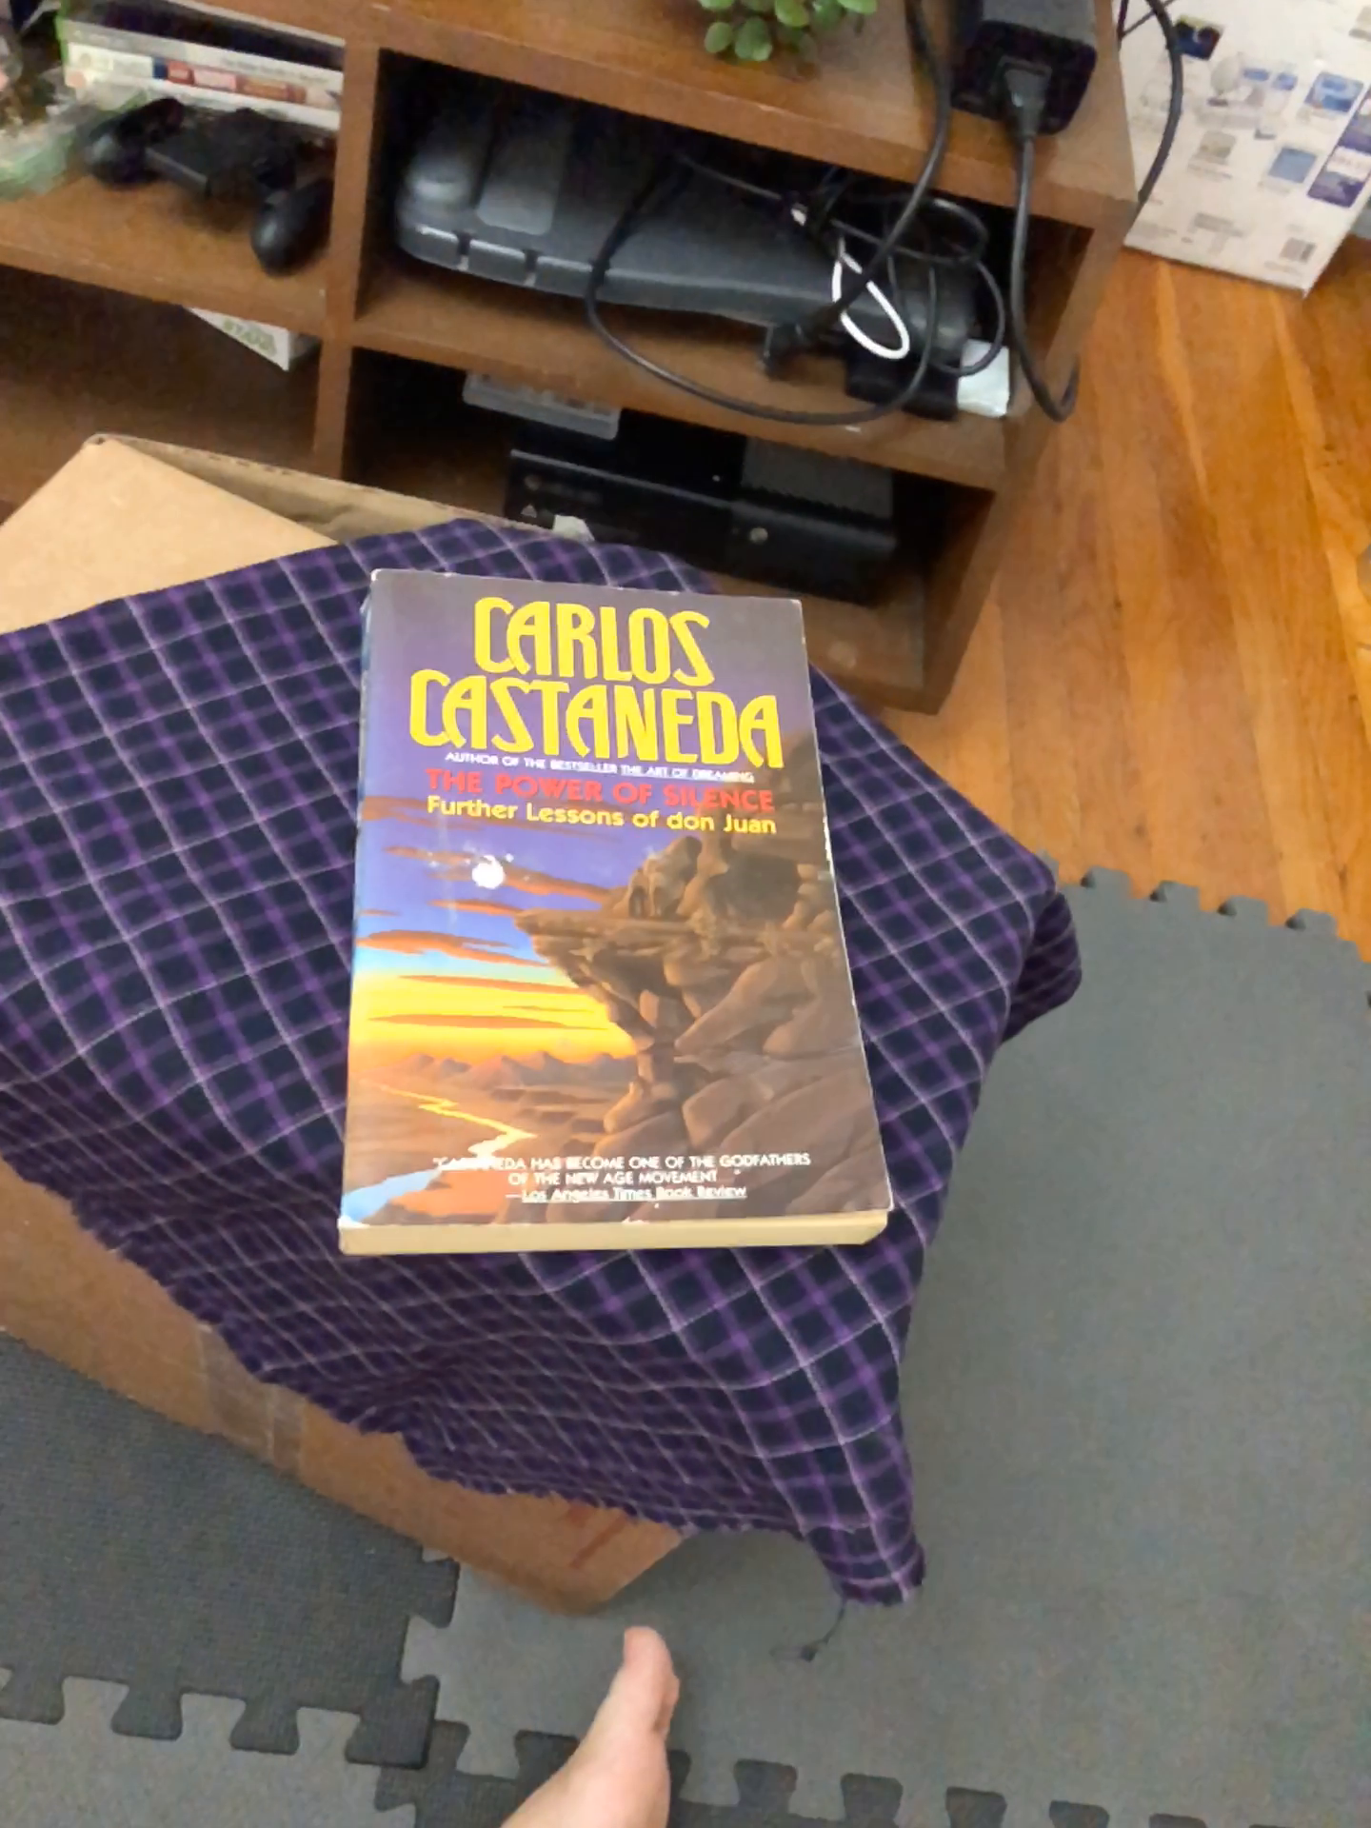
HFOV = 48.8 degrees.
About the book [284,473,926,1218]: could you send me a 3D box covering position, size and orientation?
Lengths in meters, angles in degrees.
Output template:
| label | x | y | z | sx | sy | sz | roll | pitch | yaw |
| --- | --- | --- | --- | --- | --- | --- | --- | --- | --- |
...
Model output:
| label | x | y | z | sx | sy | sz | roll | pitch | yaw |
| --- | --- | --- | --- | --- | --- | --- | --- | --- | --- |
| book | -0.024 | -0.027 | 0.414 | 0.150 | 0.020 | 0.221 | 3 | 59 | -11 |
